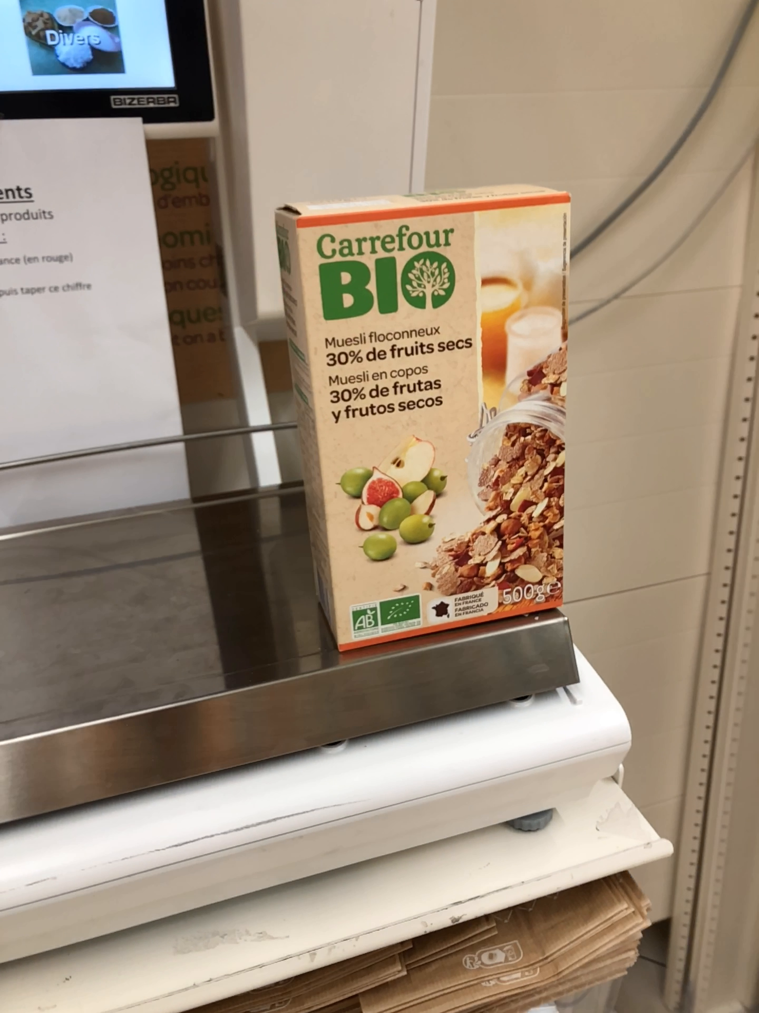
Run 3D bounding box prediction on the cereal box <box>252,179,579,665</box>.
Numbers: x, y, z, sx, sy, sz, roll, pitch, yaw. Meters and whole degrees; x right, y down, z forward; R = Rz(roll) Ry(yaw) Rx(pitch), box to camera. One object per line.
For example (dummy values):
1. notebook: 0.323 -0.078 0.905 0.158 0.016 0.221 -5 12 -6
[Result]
1. cereal box: 0.020 -0.040 0.407 0.130 0.209 0.060 -10 25 -13
